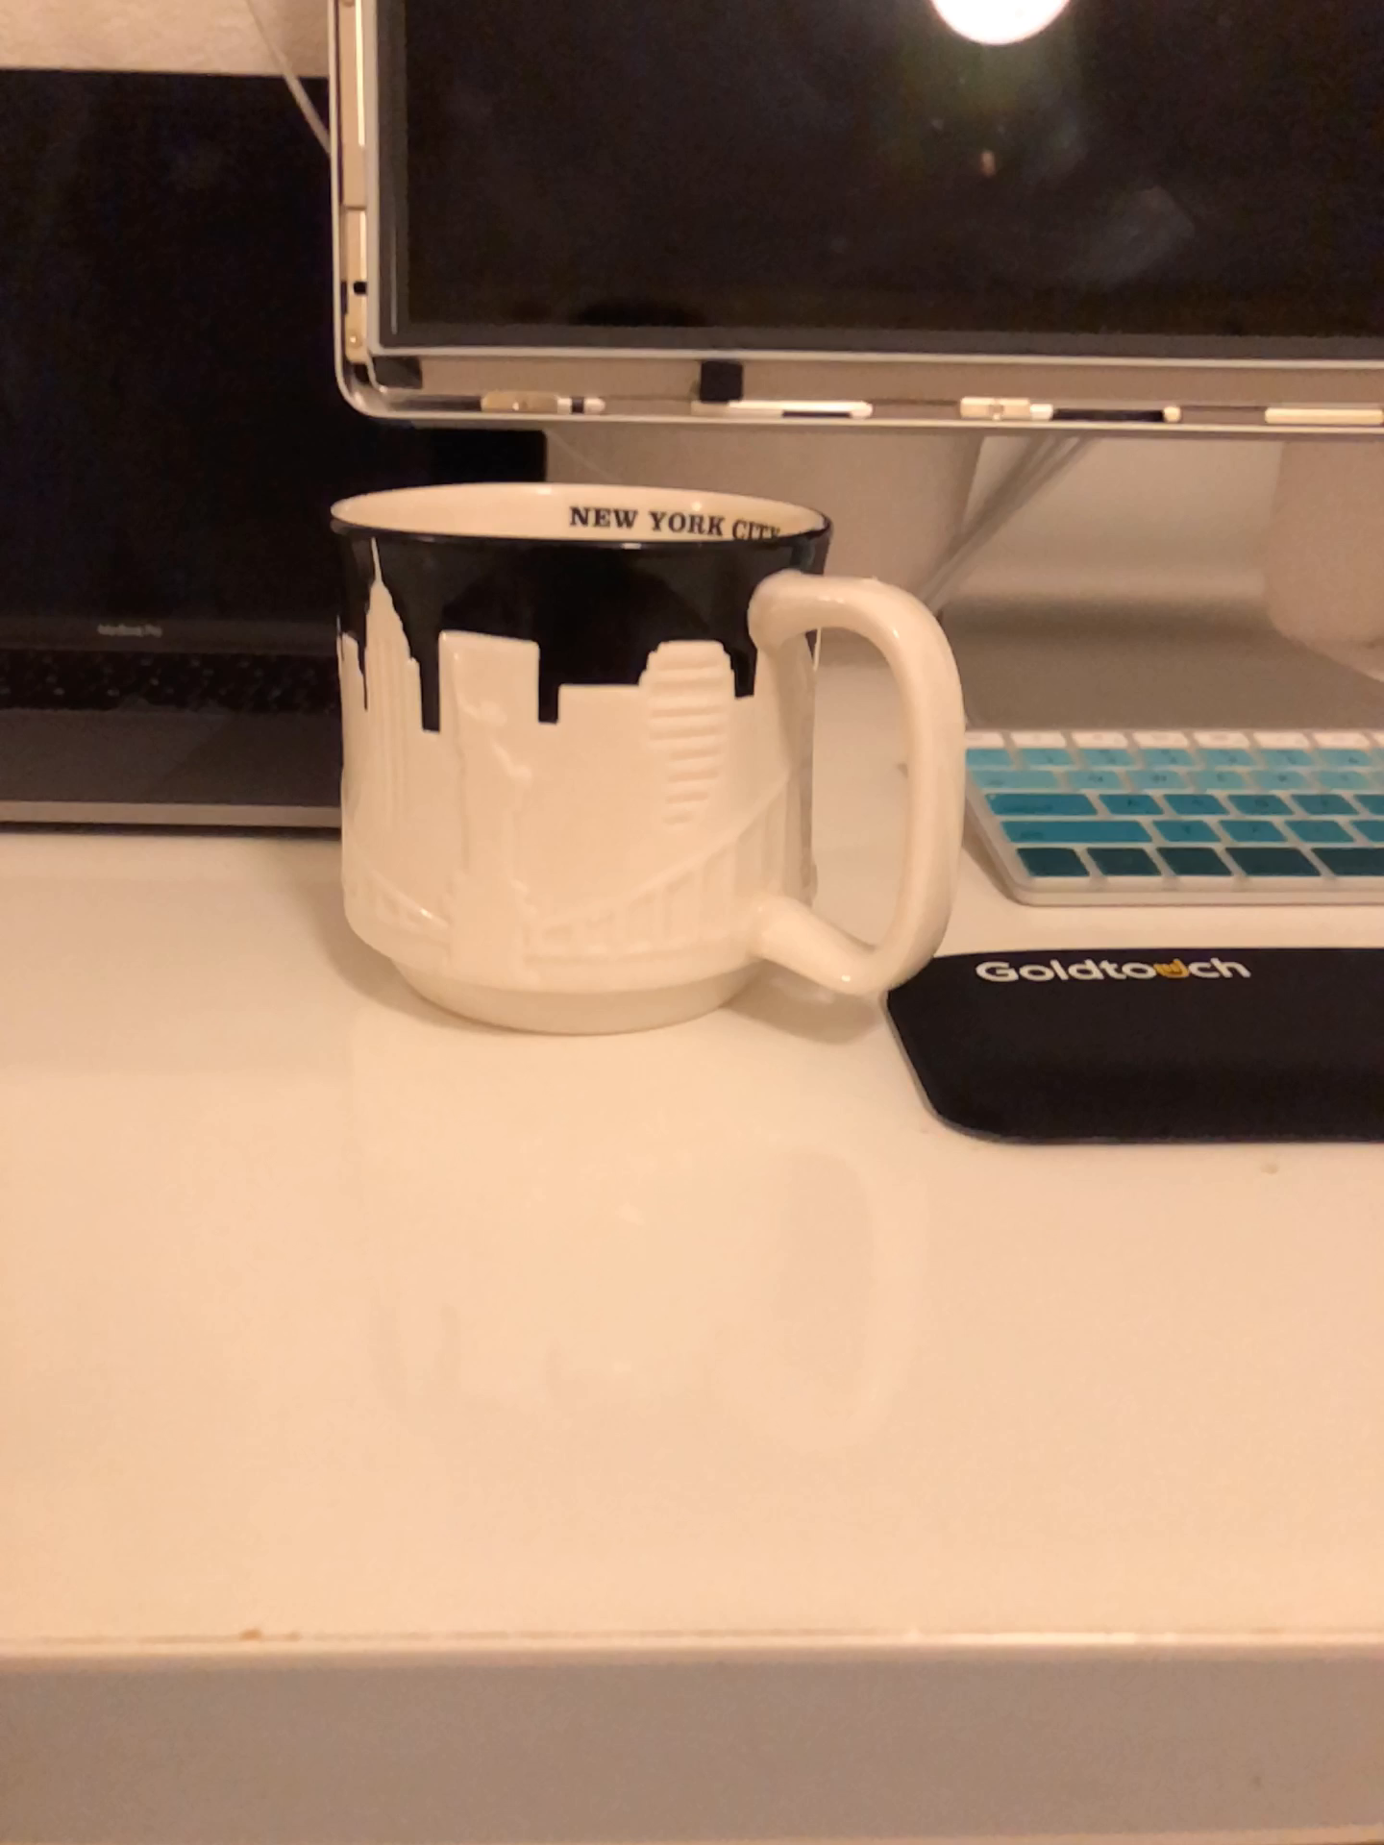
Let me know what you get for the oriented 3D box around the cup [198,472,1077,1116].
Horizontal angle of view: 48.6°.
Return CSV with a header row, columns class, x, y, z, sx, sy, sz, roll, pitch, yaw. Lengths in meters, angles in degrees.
class,x,y,z,sx,sy,sz,roll,pitch,yaw
cup,-0.007,-0.039,0.322,0.140,0.090,0.110,12,24,24
